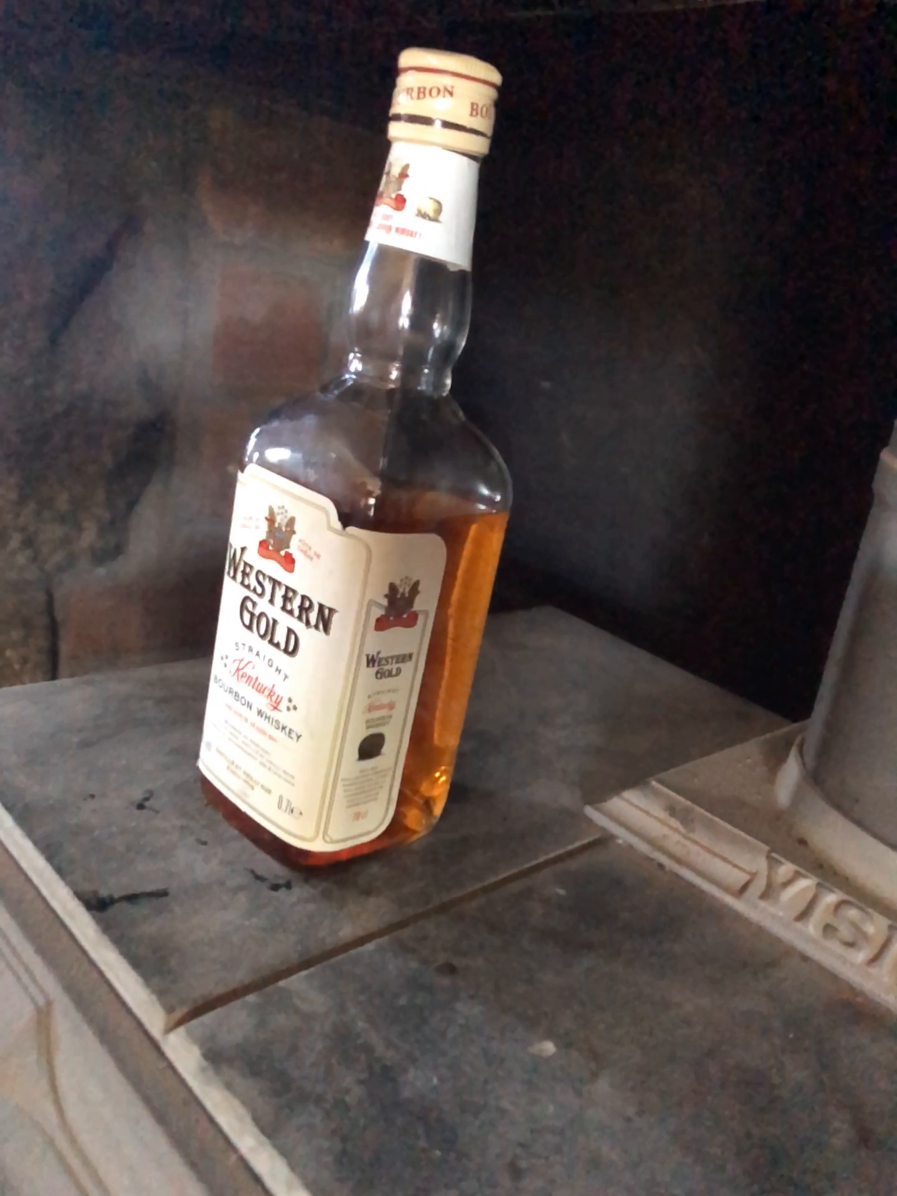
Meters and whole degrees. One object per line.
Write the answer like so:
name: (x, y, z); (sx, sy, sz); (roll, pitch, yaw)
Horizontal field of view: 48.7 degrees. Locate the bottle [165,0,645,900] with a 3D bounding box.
bottle: (-0.023, -0.043, 0.326); (0.090, 0.249, 0.080); (25, 22, 40)
